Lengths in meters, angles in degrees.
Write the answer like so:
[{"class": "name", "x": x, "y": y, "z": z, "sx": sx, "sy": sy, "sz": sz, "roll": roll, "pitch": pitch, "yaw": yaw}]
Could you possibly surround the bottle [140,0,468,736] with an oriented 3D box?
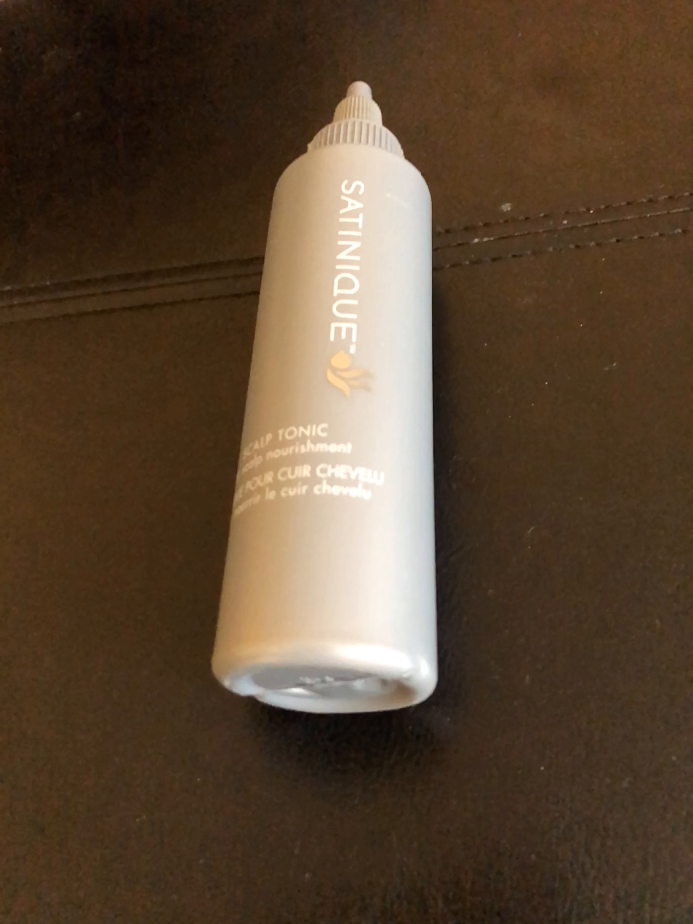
[{"class": "bottle", "x": -0.001, "y": -0.025, "z": 0.148, "sx": 0.040, "sy": 0.040, "sz": 0.140, "roll": -3, "pitch": 61, "yaw": 10}]
